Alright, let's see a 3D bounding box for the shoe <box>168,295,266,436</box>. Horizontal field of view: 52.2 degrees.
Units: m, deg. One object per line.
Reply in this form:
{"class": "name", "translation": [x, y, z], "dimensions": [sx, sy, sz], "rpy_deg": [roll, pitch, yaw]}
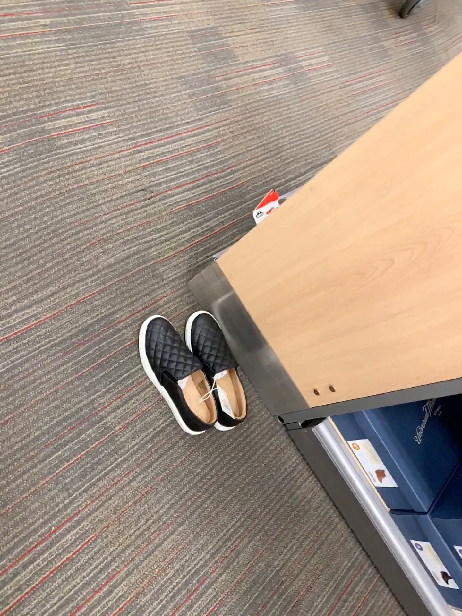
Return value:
{"class": "shoe", "translation": [-0.032, 0.119, 0.979], "dimensions": [0.100, 0.100, 0.260], "rpy_deg": [-11, 78, -33]}

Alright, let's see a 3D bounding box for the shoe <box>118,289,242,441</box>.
{"class": "shoe", "translation": [-0.101, 0.111, 0.913], "dimensions": [0.100, 0.100, 0.260], "rpy_deg": [-26, 86, -35]}
